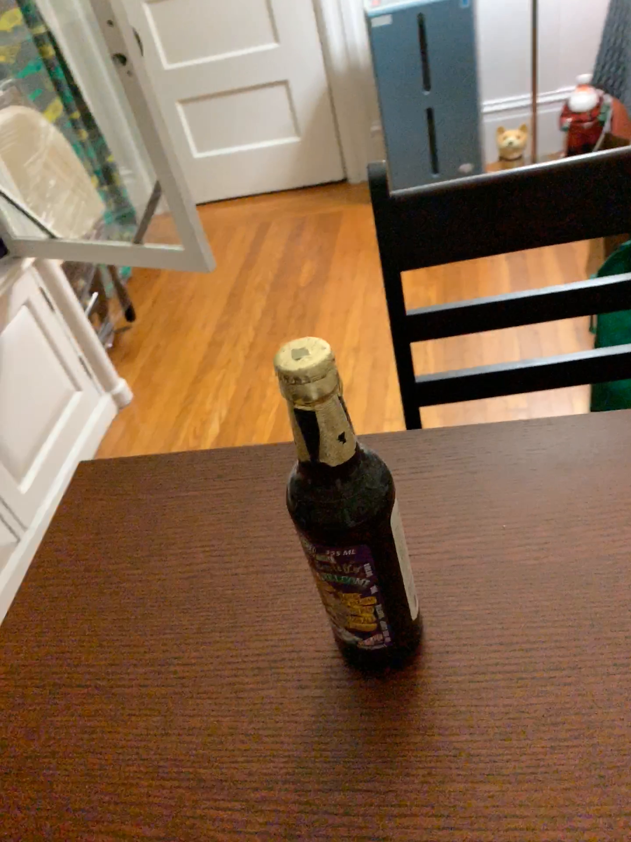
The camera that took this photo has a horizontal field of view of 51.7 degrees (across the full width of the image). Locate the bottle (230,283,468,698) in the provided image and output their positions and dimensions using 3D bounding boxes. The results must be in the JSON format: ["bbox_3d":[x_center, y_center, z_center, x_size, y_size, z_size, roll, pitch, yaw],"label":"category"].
[{"bbox_3d":[0.027,0.052,0.350,0.070,0.229,0.070,-9,41,8],"label":"bottle"}]
